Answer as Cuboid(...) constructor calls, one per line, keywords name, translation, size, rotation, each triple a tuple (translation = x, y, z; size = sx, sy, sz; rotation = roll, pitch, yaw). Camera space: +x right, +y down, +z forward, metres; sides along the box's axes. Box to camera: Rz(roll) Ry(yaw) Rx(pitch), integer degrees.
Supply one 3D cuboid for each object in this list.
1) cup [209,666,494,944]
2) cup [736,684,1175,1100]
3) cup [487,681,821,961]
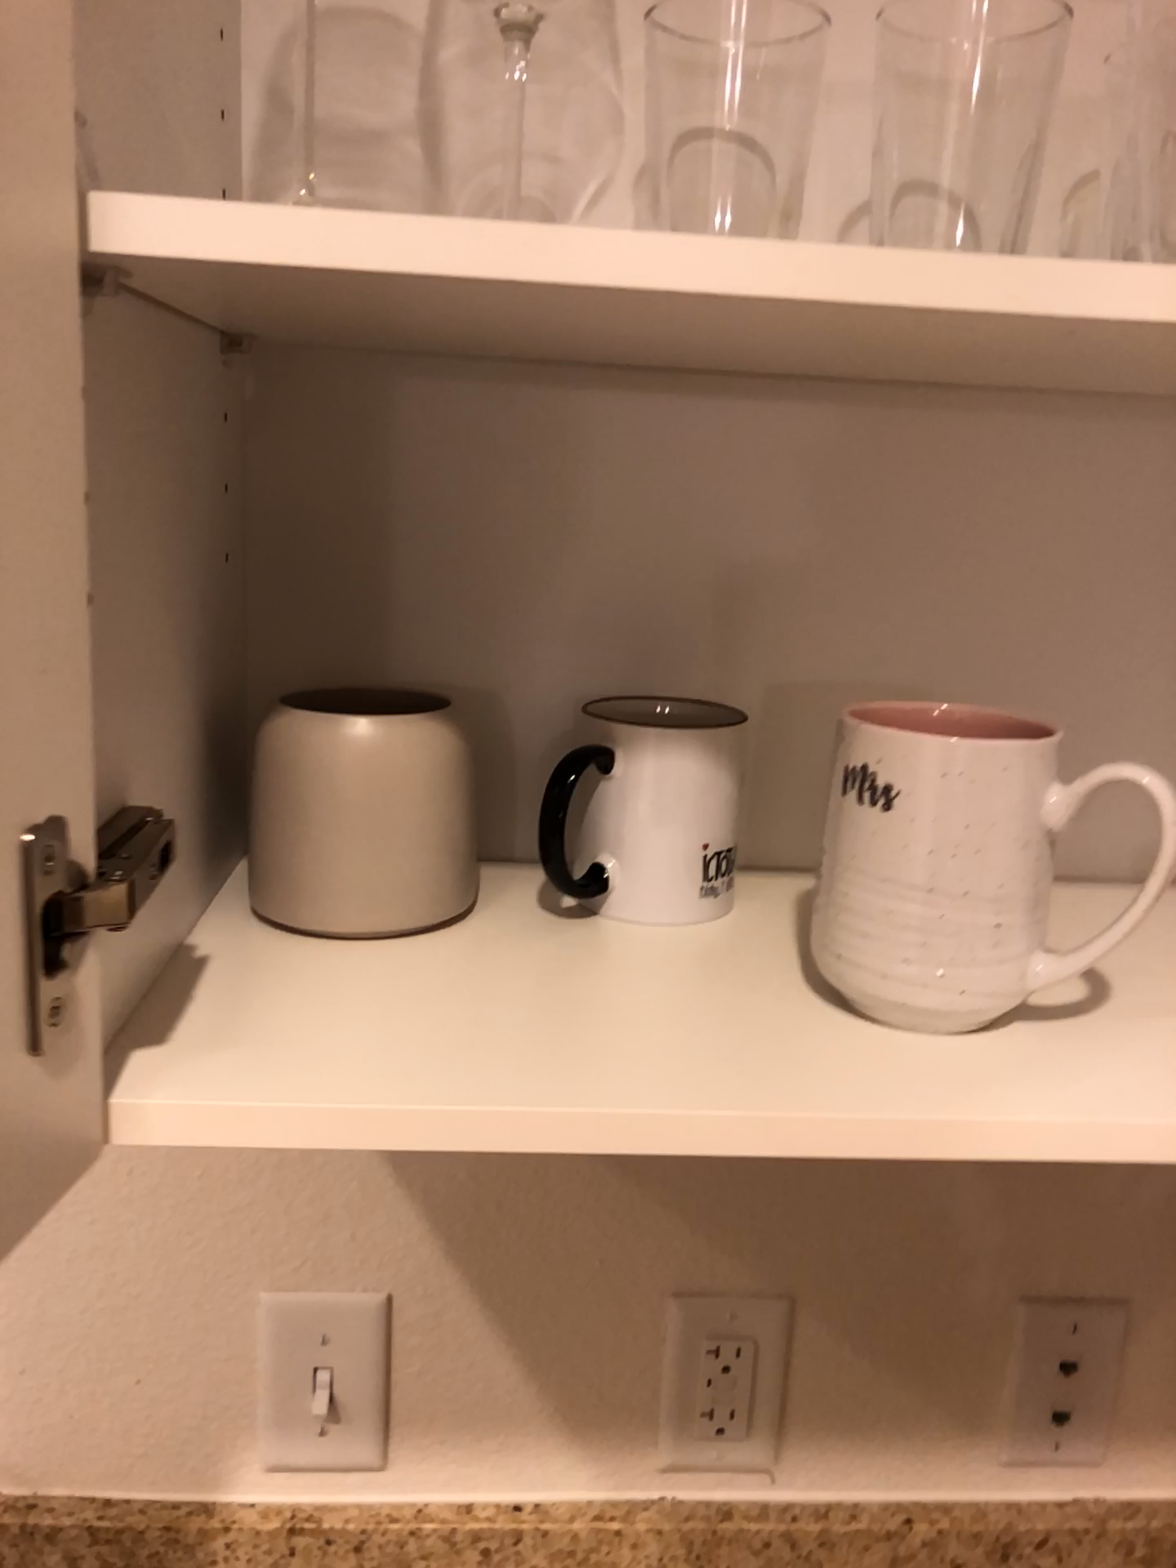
Cuboid(name="cup", translation=(-0.107, 0.003, 0.591), size=(0.110, 0.090, 0.150), rotation=(1, 13, -11))
Cuboid(name="cup", translation=(0.142, 0.030, 0.483), size=(0.140, 0.110, 0.090), rotation=(11, 15, 31))
Cuboid(name="cup", translation=(0.029, 0.010, 0.567), size=(0.110, 0.090, 0.090), rotation=(-10, 18, -44))
